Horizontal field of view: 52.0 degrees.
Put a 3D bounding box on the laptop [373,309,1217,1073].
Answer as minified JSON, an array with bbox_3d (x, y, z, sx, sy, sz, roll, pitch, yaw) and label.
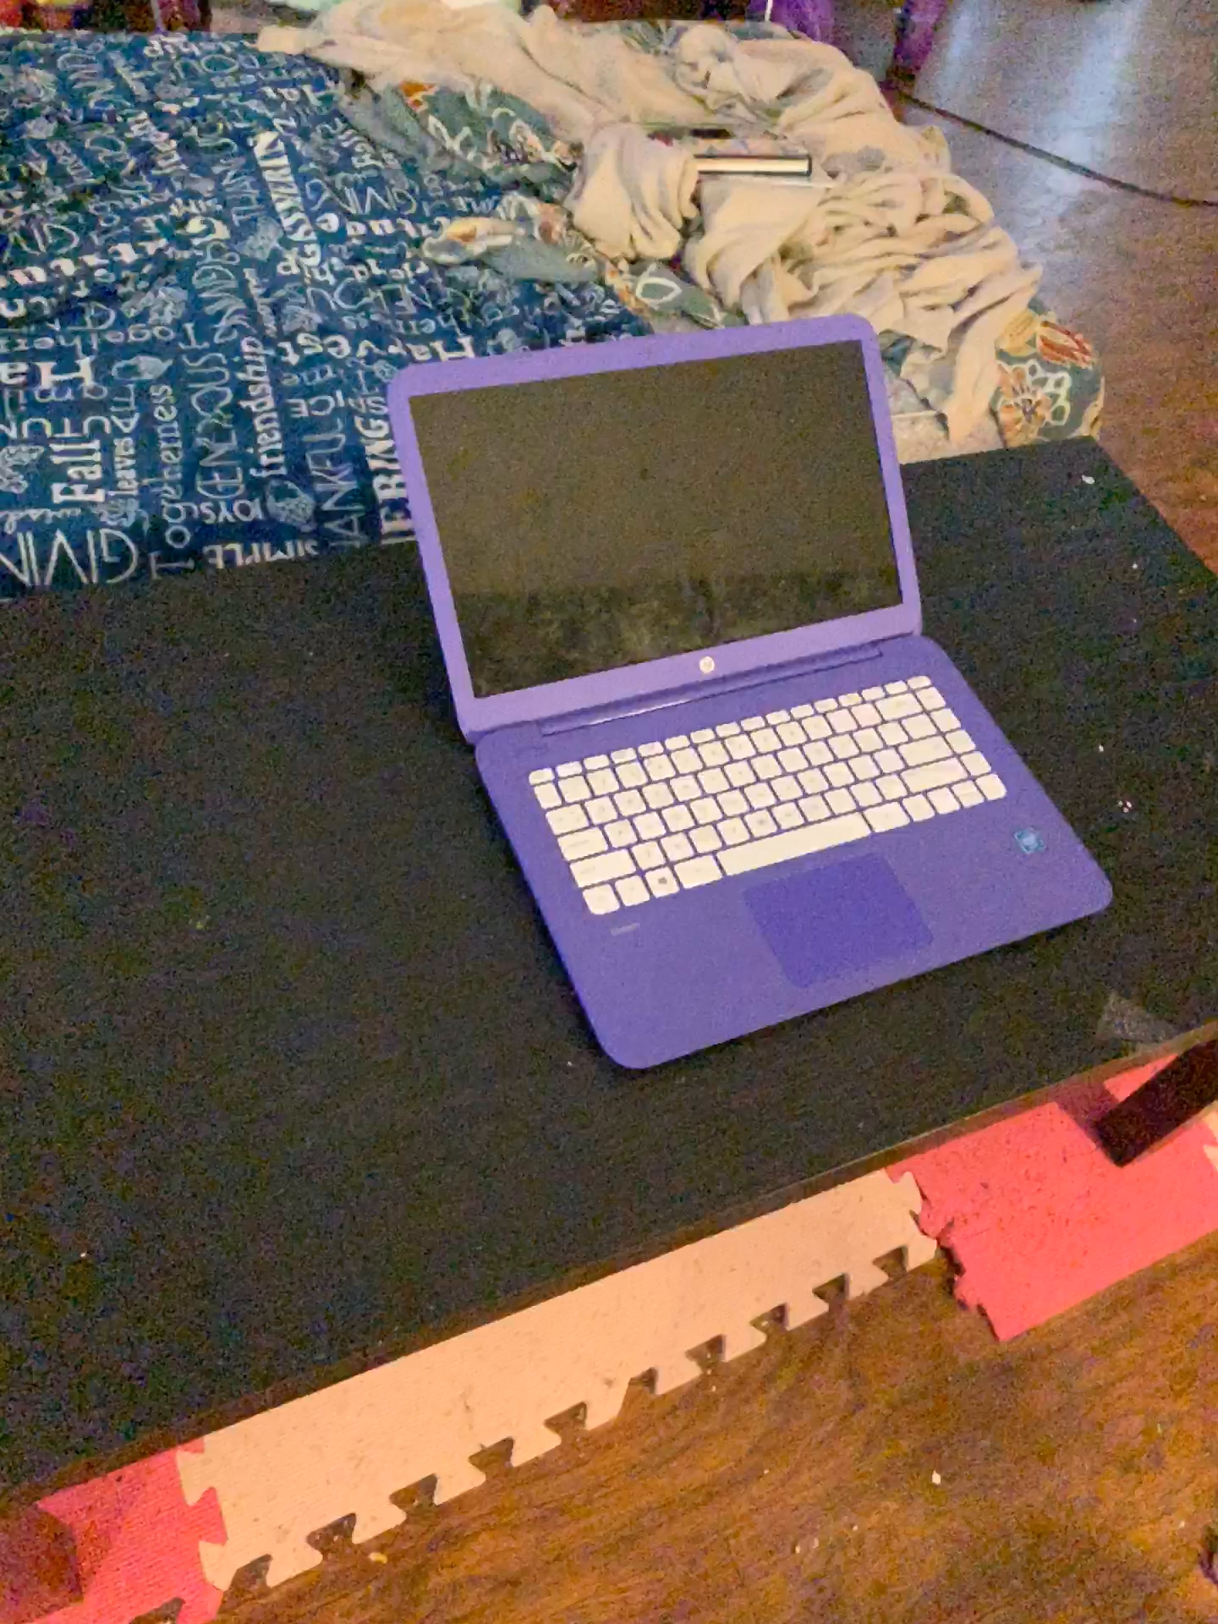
[{"bbox_3d":[0.087,-0.102,0.734,0.340,0.132,0.398,-14,59,-21],"label":"laptop"}]
